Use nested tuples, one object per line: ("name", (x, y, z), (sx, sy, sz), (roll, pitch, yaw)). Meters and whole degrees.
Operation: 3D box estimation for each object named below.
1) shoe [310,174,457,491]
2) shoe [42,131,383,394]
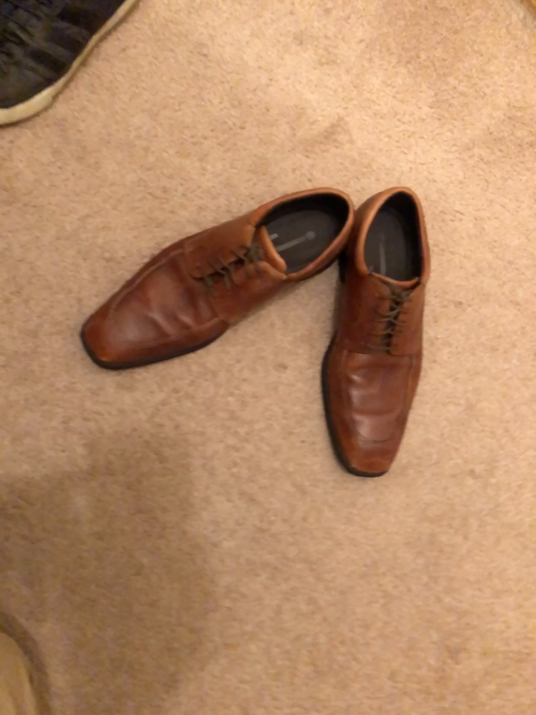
("shoe", (0.120, -0.021, 0.617), (0.100, 0.110, 0.300), (8, 80, -10))
("shoe", (-0.053, -0.094, 0.605), (0.300, 0.120, 0.120), (-30, 88, -14))
